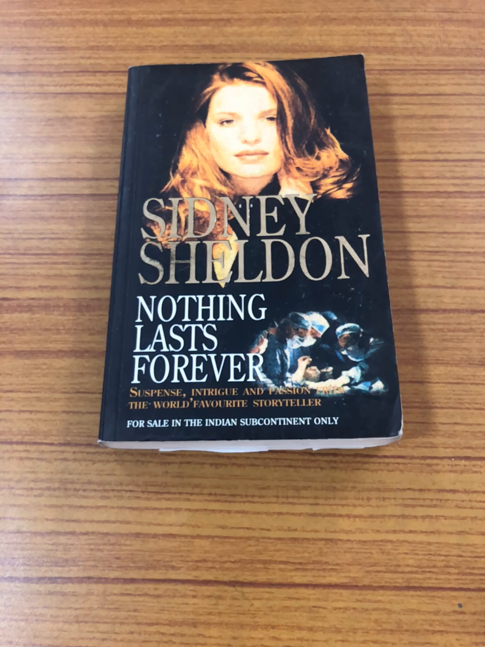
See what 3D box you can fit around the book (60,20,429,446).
[{"bbox_3d":[-0.001,-0.040,0.219,0.120,0.030,0.170,-2,72,2],"label":"book"}]
